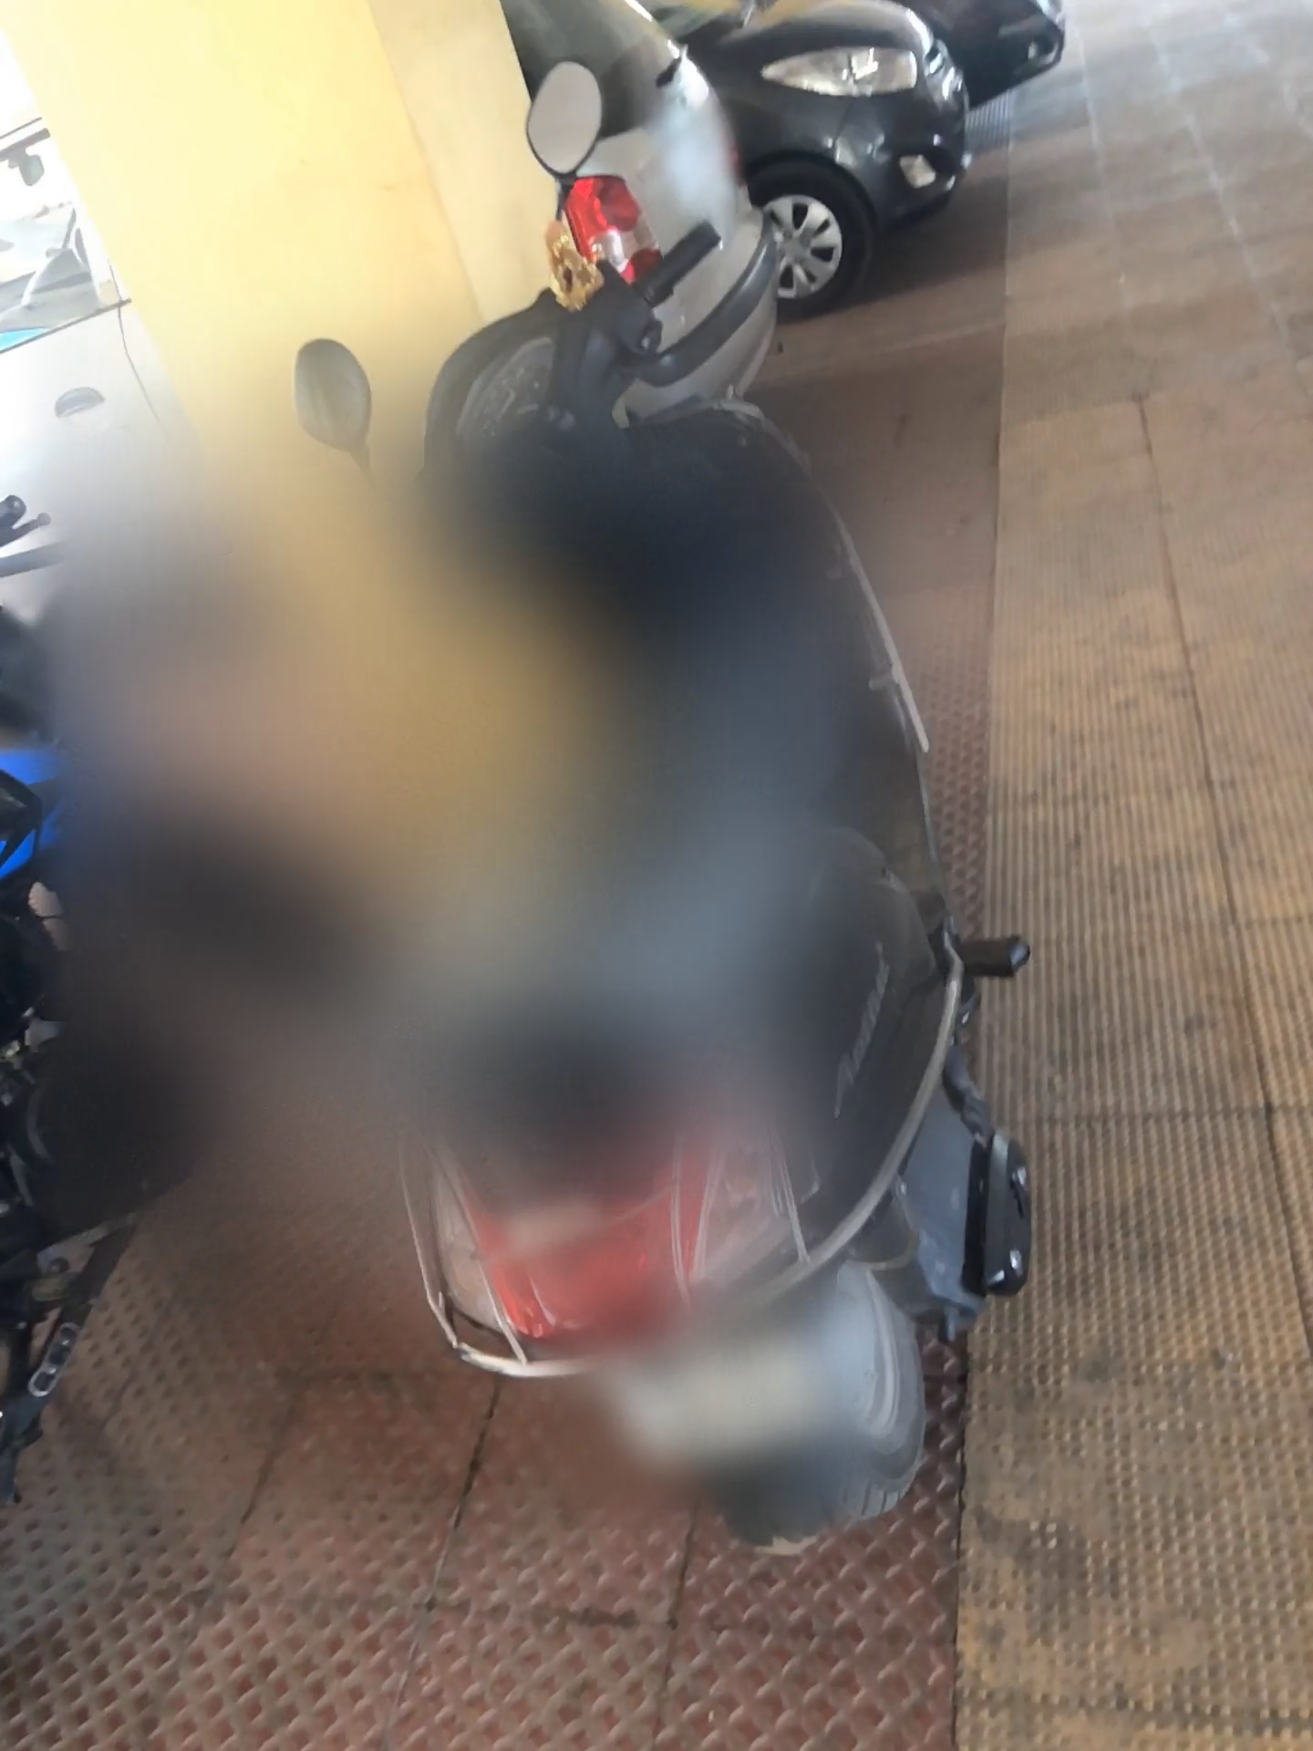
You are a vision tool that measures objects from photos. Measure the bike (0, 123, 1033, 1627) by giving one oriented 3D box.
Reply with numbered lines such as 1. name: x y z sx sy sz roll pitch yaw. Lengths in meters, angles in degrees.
1. bike: -0.109 -0.104 1.863 0.608 1.172 1.448 -15 36 8
